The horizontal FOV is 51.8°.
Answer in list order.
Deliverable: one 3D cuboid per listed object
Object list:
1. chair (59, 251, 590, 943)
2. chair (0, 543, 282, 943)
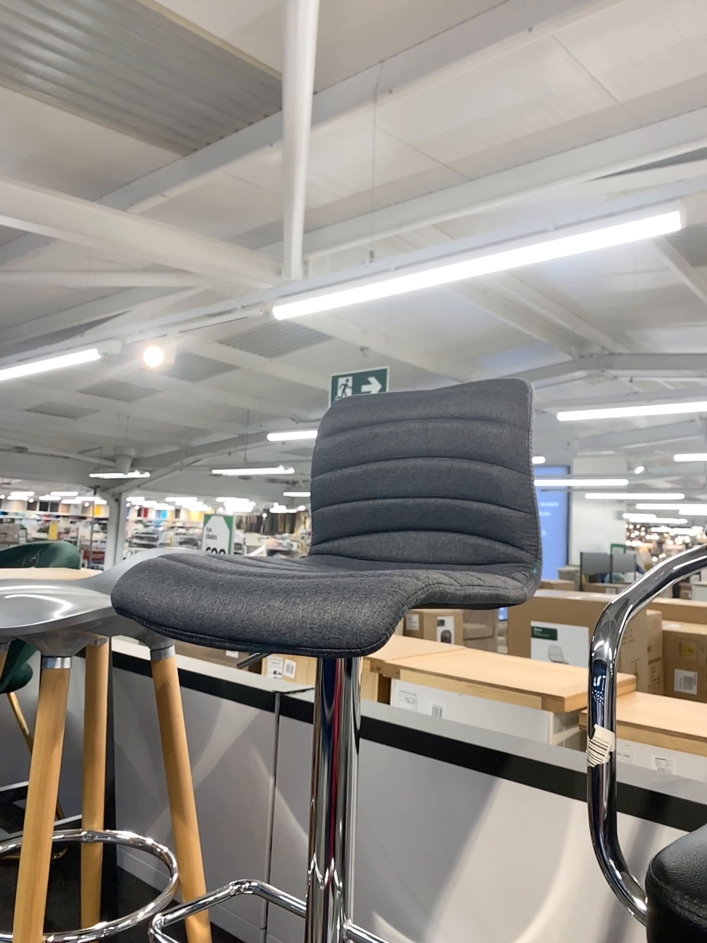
[{"bbox_3d":[0.001,0.336,0.930,0.445,1.033,0.451,-3,-9,36],"label":"chair"},{"bbox_3d":[-0.450,0.499,1.166,0.445,0.742,0.451,-3,-9,37],"label":"chair"}]
